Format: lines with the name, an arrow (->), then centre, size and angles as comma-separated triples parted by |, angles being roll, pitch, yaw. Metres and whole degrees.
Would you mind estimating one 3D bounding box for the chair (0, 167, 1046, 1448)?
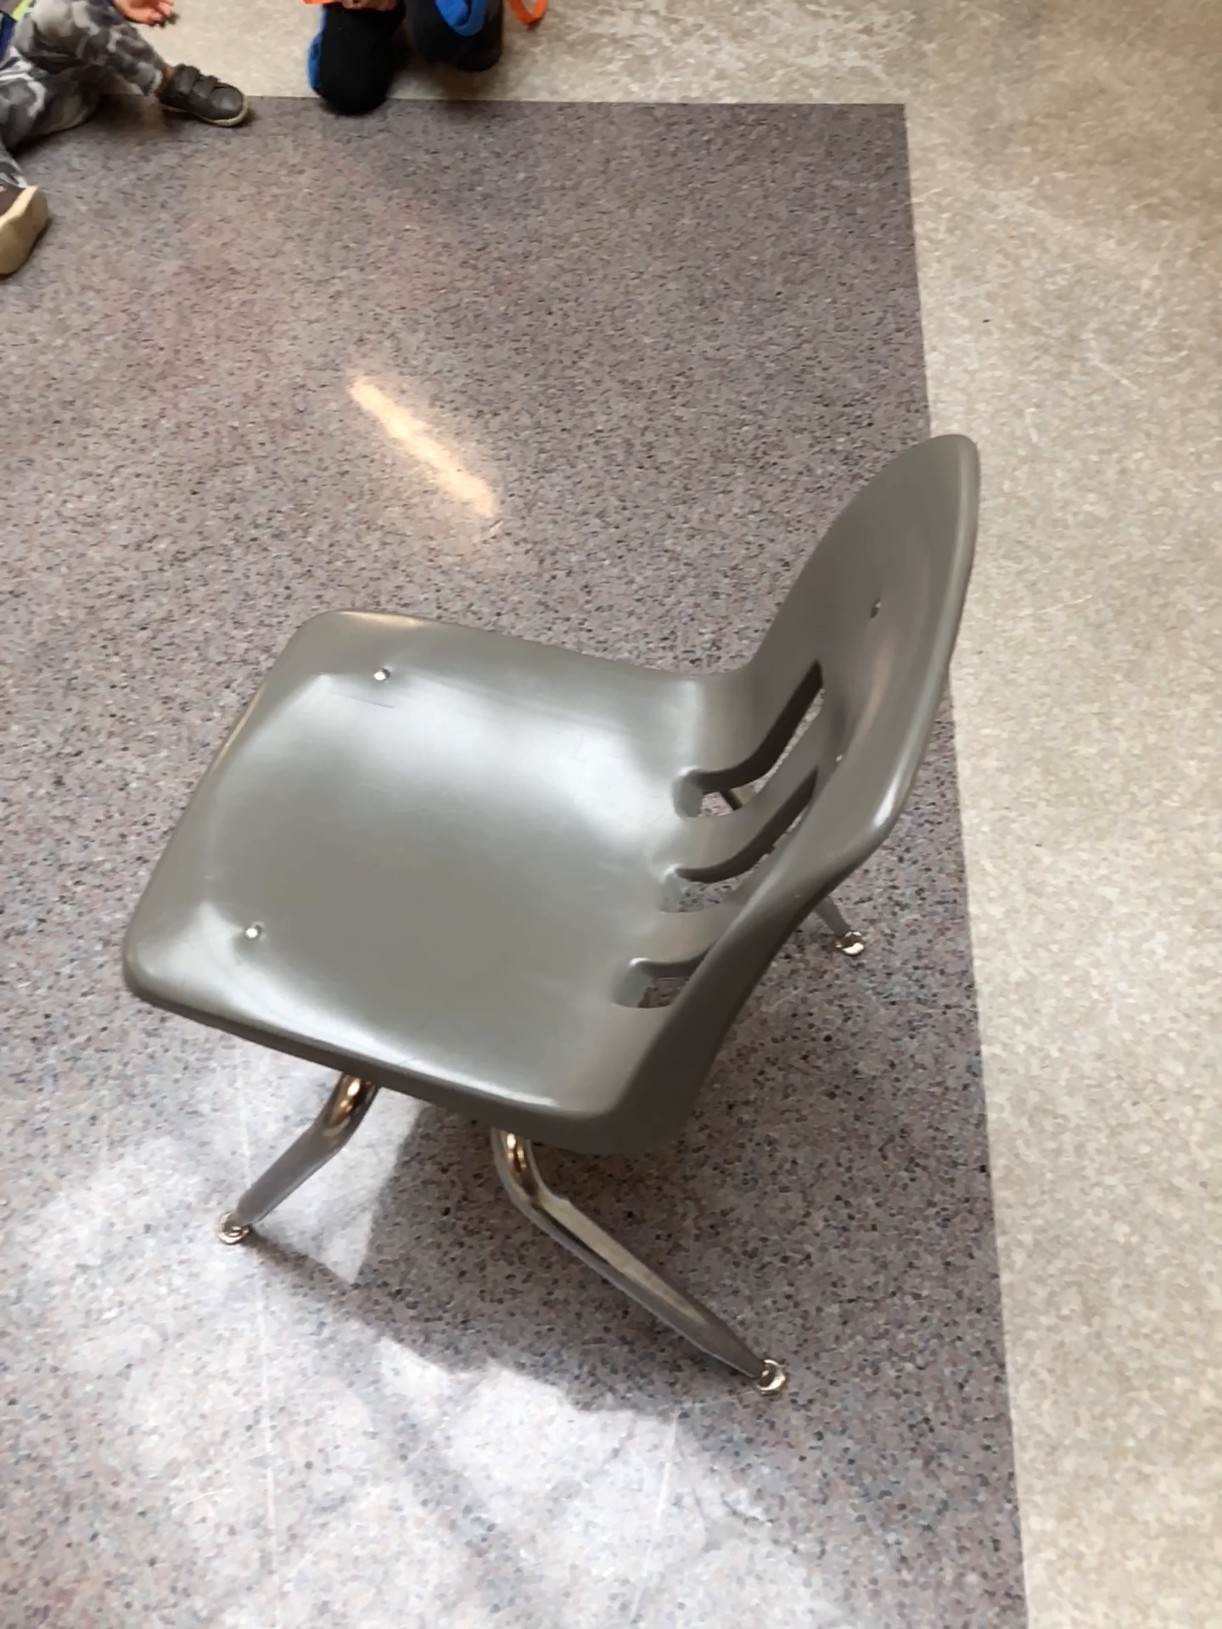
chair -> -0.076, 0.035, 0.936 | 0.550, 0.667, 0.512 | 12, 56, 11
